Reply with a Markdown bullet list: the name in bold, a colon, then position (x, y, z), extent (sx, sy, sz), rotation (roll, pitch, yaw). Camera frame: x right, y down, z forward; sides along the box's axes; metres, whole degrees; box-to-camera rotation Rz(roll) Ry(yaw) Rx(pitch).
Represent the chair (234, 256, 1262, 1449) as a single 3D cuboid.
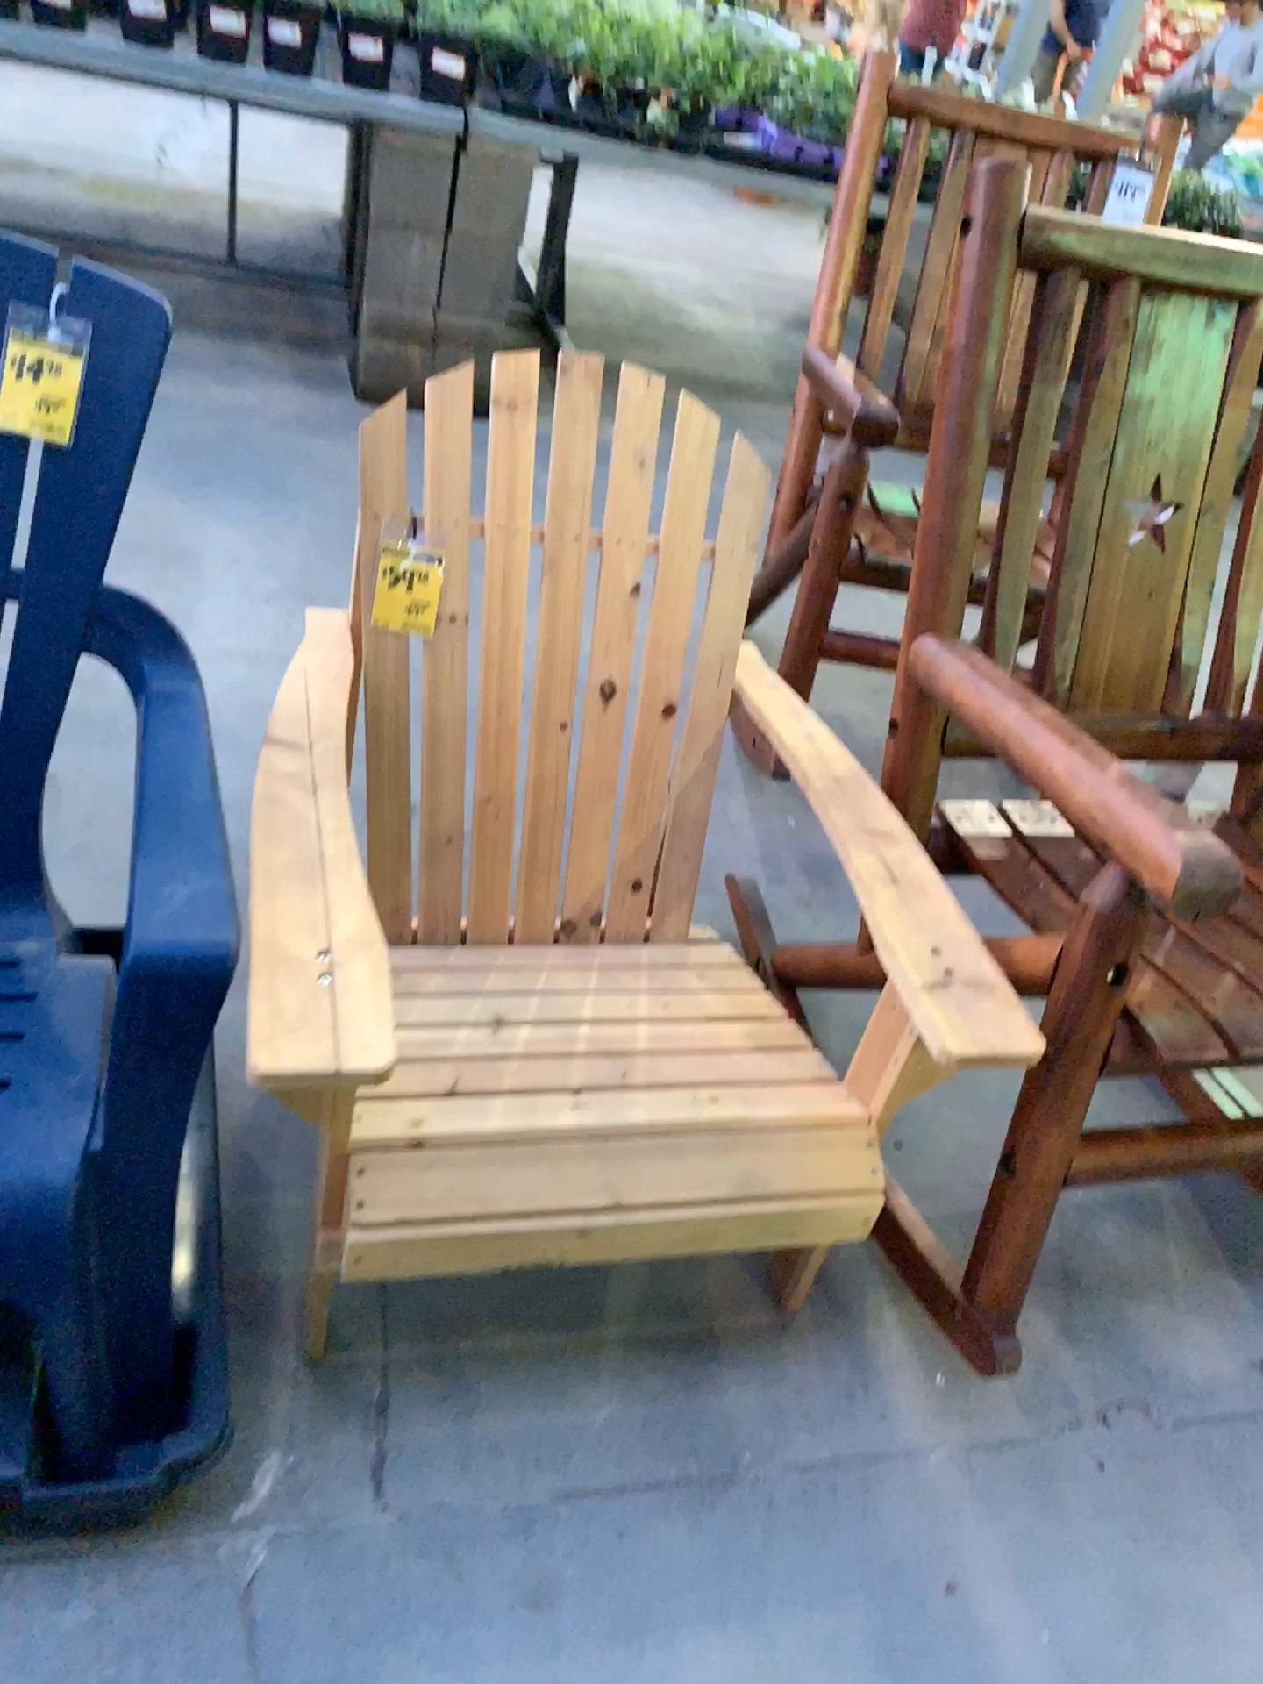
- **chair**: position (-0.057, -0.014, 1.468), extent (0.728, 0.886, 0.895), rotation (1, 39, -18)
